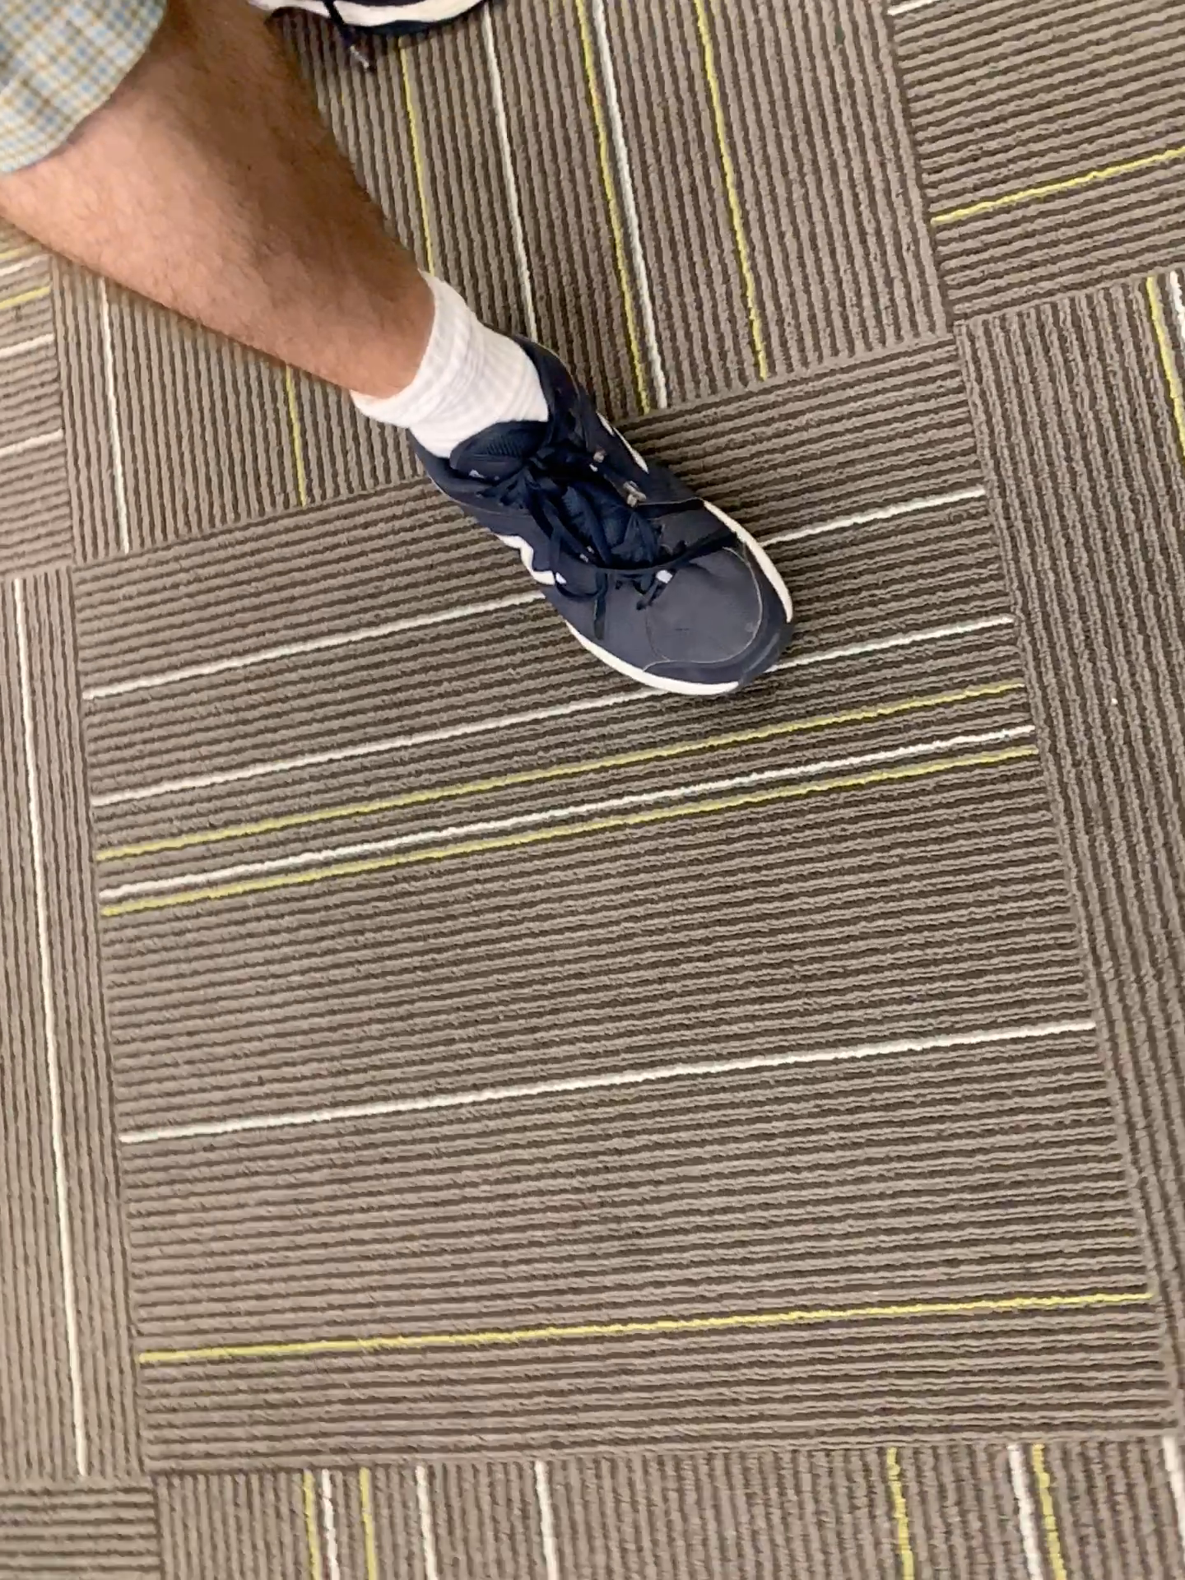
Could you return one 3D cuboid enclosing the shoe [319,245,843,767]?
[{"bbox_3d":[-0.011,-0.171,0.730,0.130,0.070,0.310,-46,74,7],"label":"shoe"}]
